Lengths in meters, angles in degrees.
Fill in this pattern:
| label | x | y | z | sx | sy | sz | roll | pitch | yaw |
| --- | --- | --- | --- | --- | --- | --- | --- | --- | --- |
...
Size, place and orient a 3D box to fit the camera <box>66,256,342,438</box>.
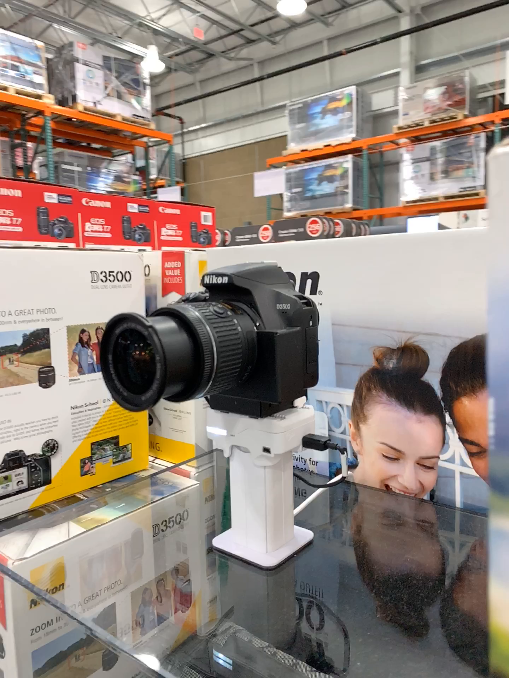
| label | x | y | z | sx | sy | sz | roll | pitch | yaw |
| --- | --- | --- | --- | --- | --- | --- | --- | --- | --- |
| camera | -0.031 | -0.007 | 0.381 | 0.130 | 0.100 | 0.150 | 4 | 9 | 39 |
